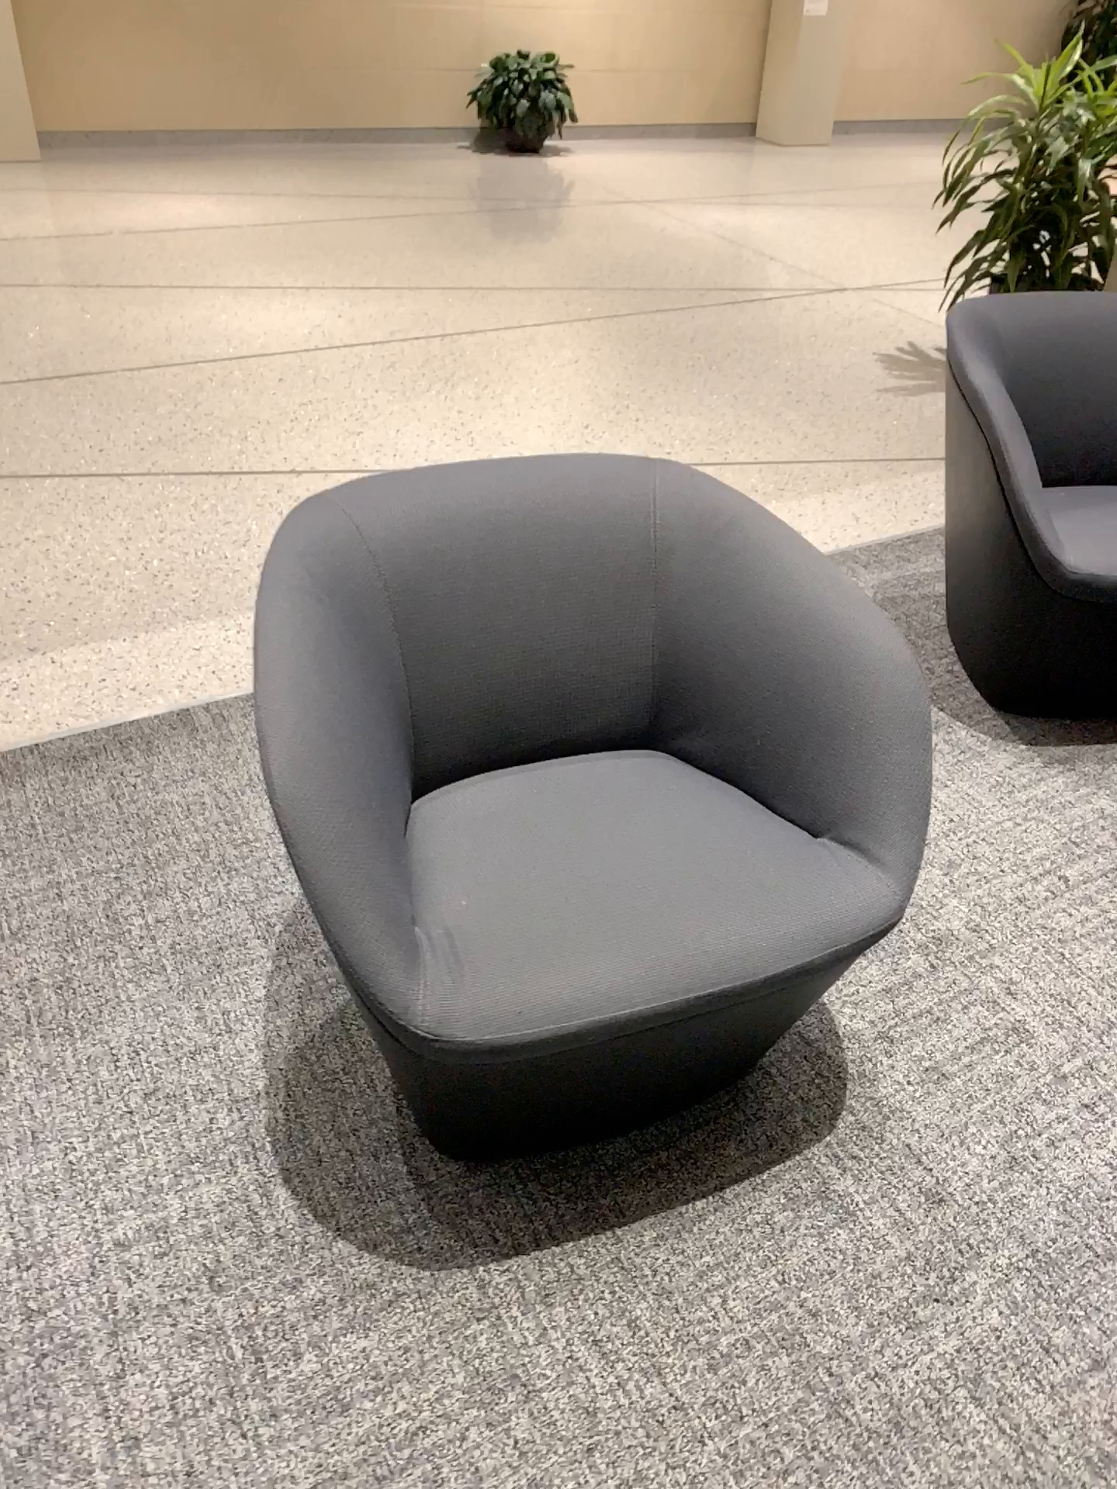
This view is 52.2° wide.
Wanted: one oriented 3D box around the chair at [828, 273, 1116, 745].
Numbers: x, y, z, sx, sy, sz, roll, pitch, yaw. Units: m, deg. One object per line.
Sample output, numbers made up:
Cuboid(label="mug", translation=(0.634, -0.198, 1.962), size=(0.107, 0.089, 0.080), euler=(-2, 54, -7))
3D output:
Cuboid(label="chair", translation=(1.079, -0.495, 2.248), size=(0.769, 0.668, 0.636), euler=(-6, 36, -13))

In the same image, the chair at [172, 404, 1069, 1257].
Cuboid(label="chair", translation=(0.014, 0.037, 1.426), size=(0.779, 0.658, 0.636), euler=(-12, 37, -20))
